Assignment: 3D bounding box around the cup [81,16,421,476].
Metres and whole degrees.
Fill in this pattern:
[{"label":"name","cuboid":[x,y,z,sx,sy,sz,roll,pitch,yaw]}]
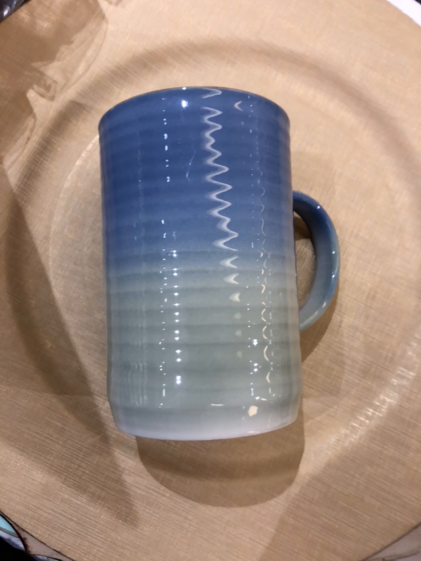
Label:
[{"label":"cup","cuboid":[0.015,-0.010,0.193,0.120,0.060,0.140,1,80,-24]}]
